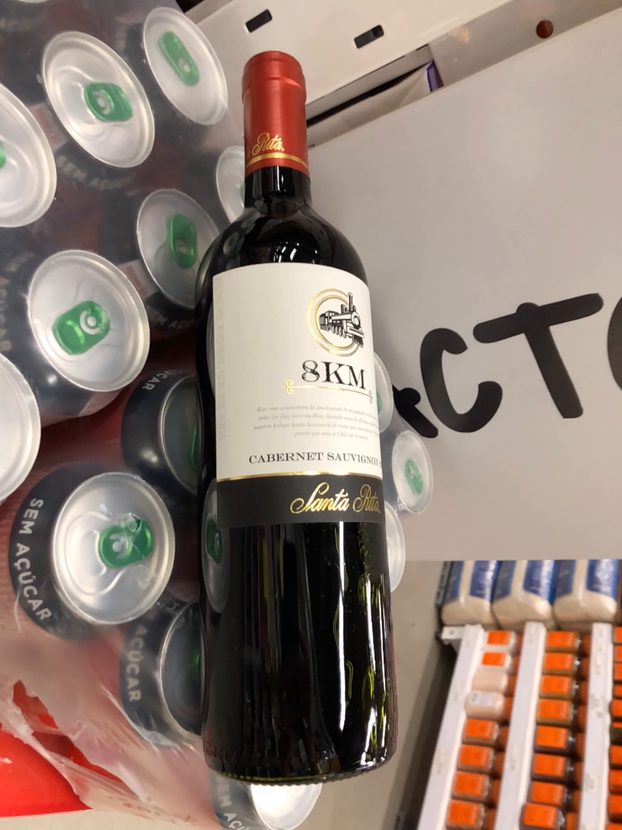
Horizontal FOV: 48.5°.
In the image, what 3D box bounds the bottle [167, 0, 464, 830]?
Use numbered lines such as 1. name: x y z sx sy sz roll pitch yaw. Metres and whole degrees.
1. bottle: -0.003 -0.025 0.281 0.081 0.070 0.320 15 68 -54
